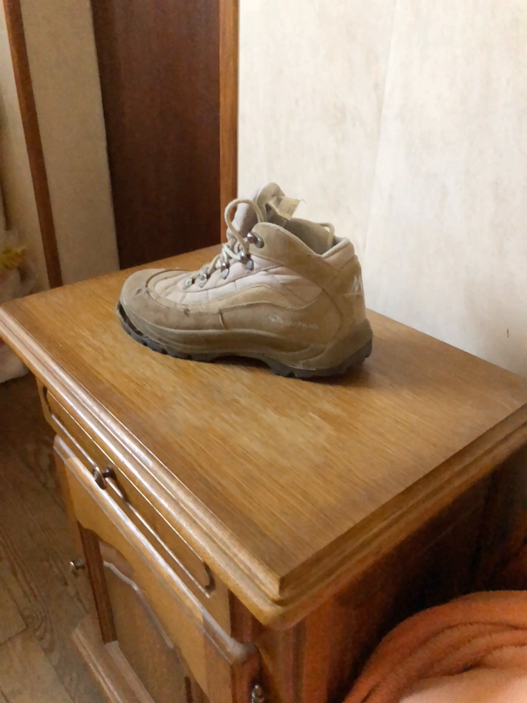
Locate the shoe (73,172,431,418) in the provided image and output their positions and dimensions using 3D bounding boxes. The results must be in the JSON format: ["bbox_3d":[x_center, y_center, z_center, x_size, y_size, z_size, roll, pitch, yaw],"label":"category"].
[{"bbox_3d":[-0.012,-0.068,0.549,0.290,0.139,0.131,14,32,21],"label":"shoe"}]
